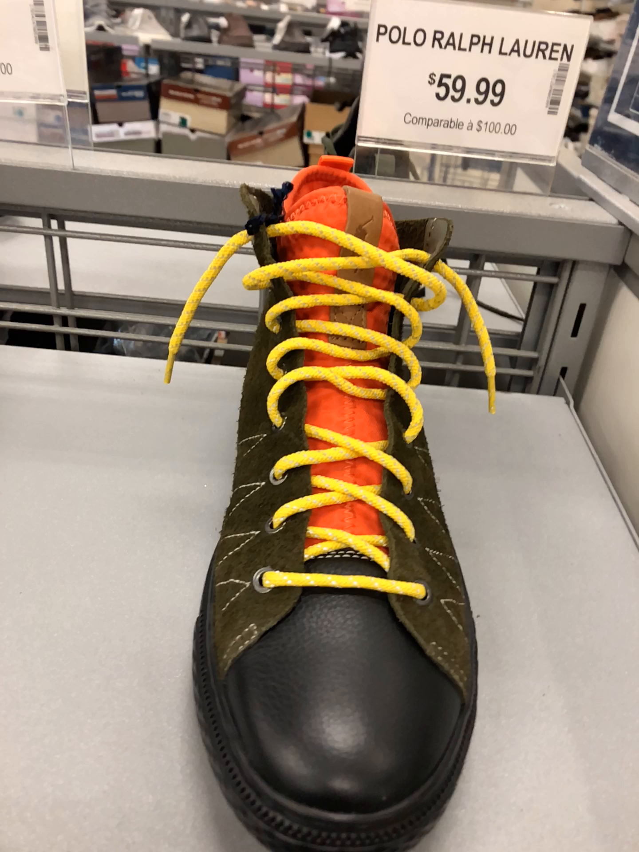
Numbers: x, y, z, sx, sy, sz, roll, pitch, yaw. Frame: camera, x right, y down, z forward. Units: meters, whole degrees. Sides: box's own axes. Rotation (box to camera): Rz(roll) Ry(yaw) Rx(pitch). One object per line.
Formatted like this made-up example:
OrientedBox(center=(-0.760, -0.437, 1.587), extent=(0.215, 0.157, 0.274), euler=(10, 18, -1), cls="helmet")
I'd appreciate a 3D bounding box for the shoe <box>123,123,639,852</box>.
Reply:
OrientedBox(center=(0.012, -0.010, 0.310), extent=(0.125, 0.171, 0.300), euler=(4, 32, -4), cls="shoe")
